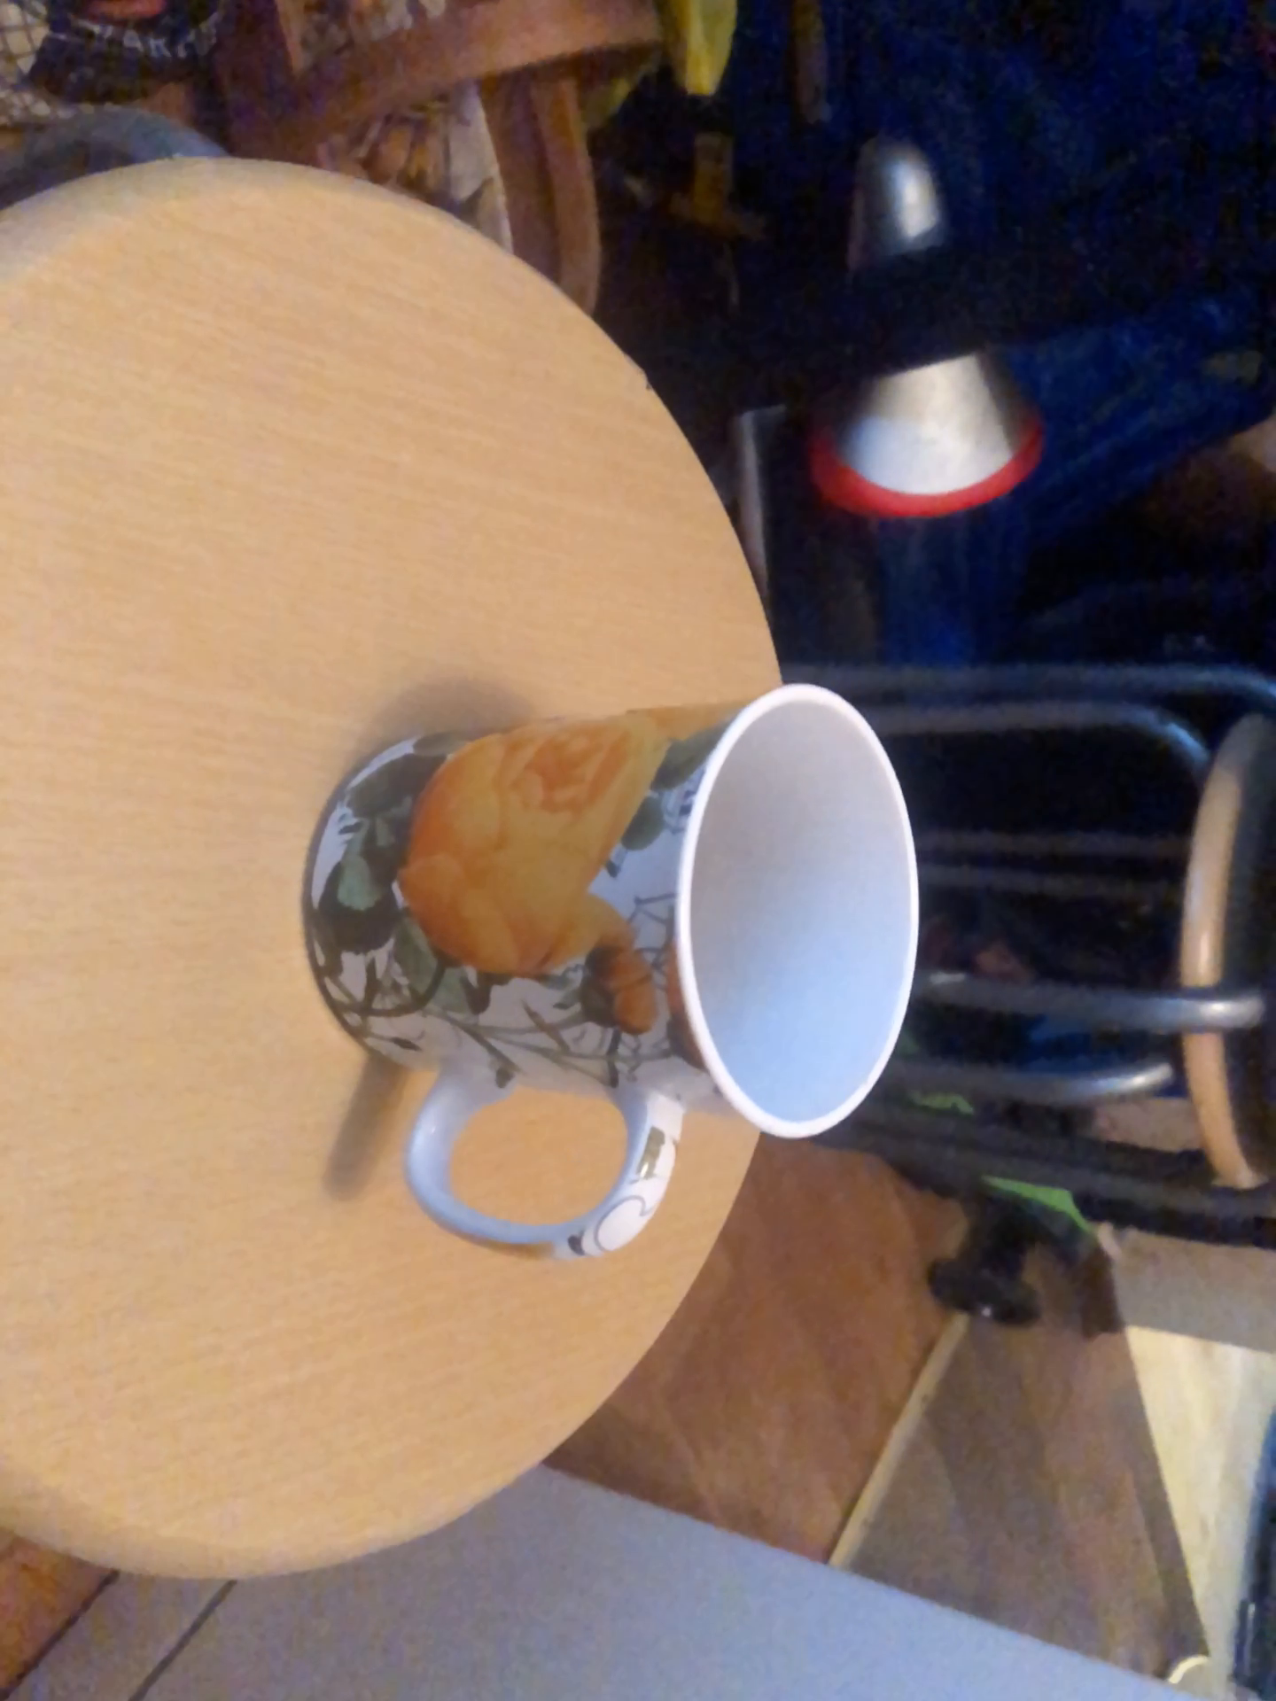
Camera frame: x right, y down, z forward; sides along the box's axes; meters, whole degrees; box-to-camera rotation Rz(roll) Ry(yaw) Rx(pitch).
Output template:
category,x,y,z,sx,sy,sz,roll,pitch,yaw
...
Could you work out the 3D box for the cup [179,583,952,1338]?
category,x,y,z,sx,sy,sz,roll,pitch,yaw
cup,-0.009,0.023,0.275,0.082,0.097,0.111,34,63,-47
